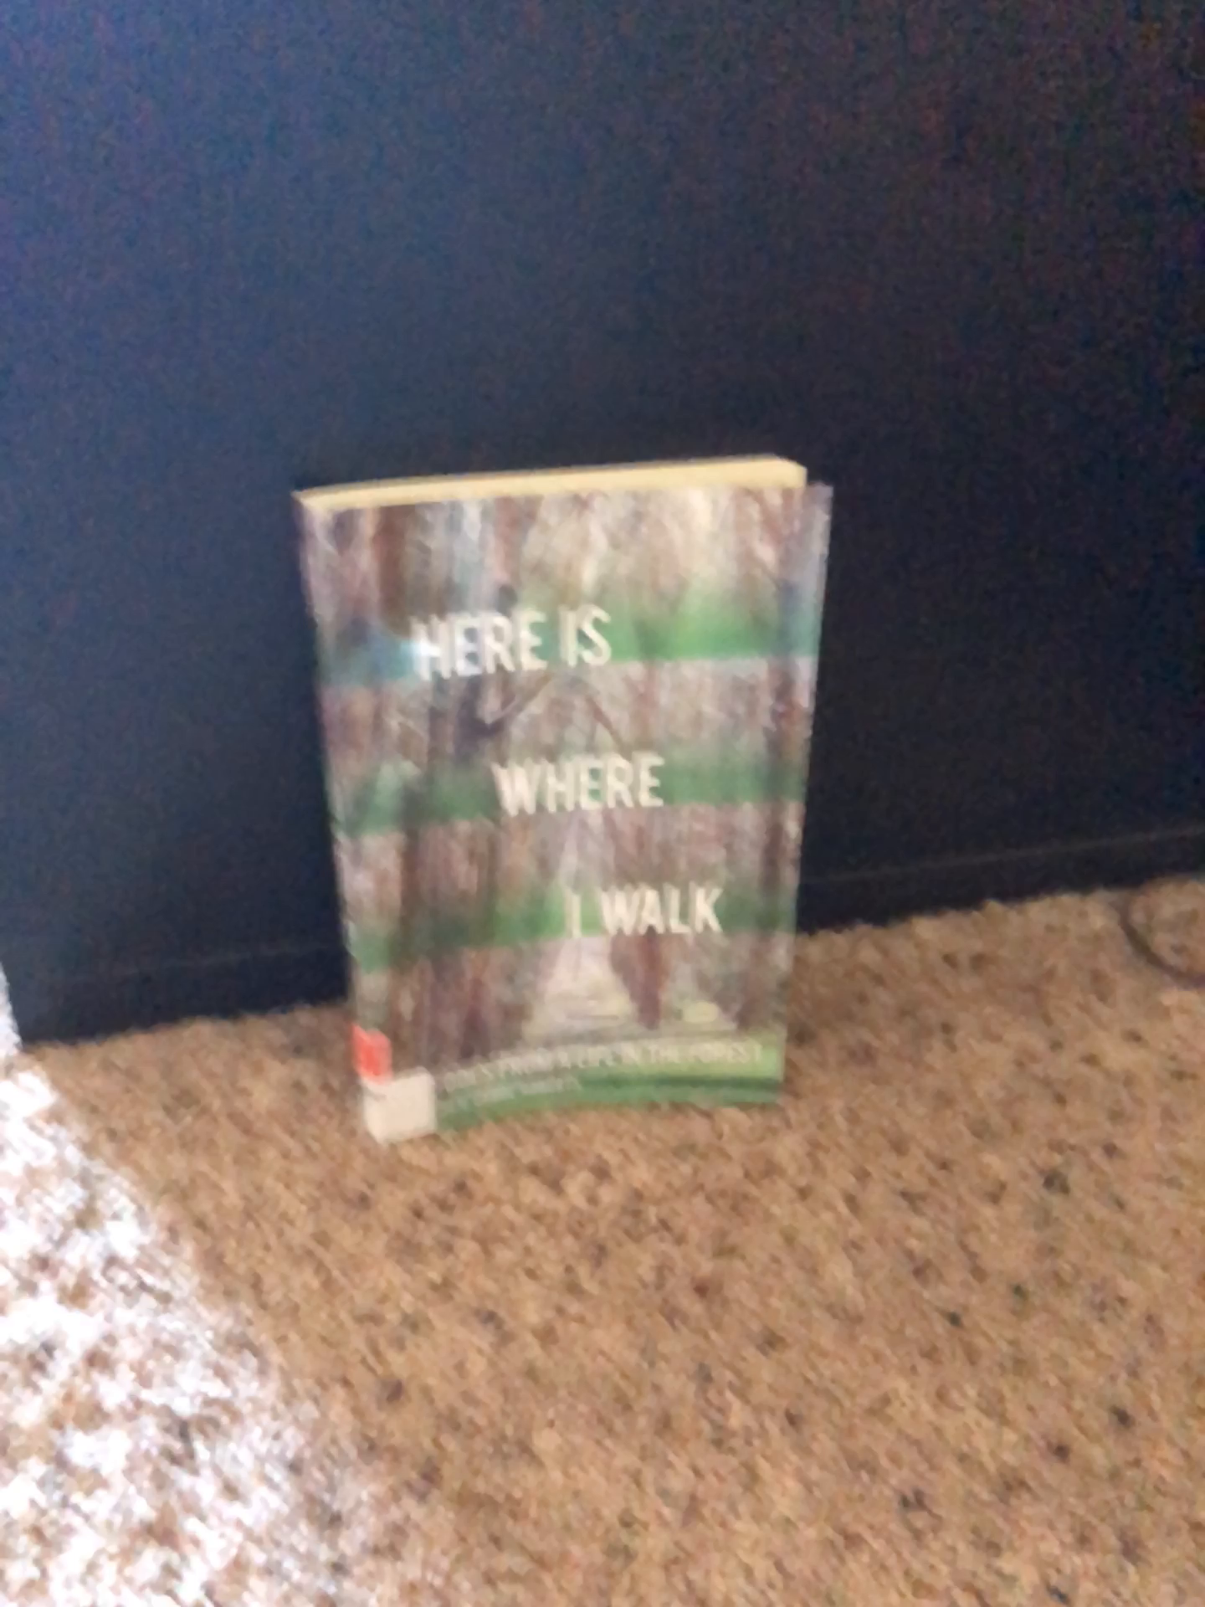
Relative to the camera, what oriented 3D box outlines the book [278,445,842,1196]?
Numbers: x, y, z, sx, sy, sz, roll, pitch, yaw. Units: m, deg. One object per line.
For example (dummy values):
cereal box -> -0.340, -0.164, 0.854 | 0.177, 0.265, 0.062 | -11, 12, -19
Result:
book -> -0.010, 0.008, 0.404 | 0.146, 0.212, 0.037 | -8, 27, -16
